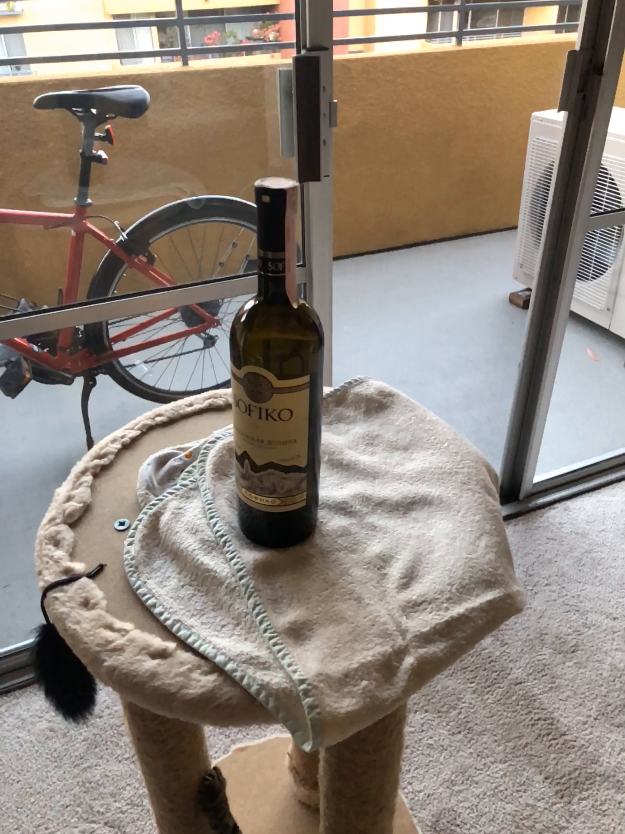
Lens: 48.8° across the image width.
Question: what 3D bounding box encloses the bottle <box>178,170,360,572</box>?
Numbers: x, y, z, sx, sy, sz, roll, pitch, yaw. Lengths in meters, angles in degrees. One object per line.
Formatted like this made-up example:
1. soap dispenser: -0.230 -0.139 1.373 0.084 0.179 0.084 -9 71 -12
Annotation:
1. bottle: -0.023 -0.024 0.494 0.080 0.269 0.080 -1 34 0
